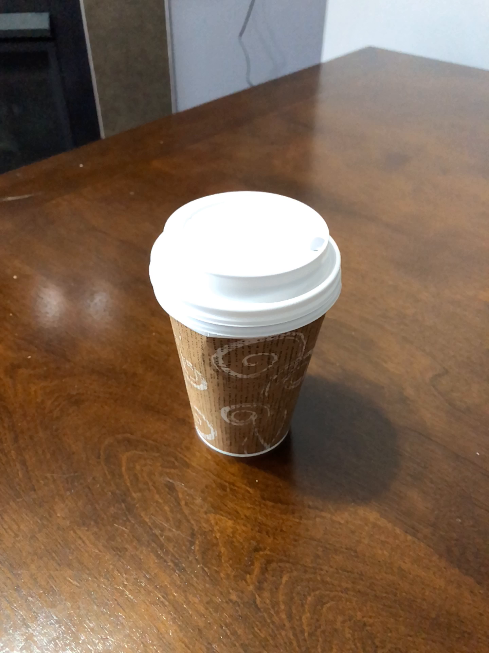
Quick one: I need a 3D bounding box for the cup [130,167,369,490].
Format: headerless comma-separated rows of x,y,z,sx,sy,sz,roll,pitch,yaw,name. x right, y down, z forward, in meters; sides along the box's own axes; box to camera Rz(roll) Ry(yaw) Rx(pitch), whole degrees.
0.002,0.001,0.223,0.070,0.100,0.080,3,40,2,cup
